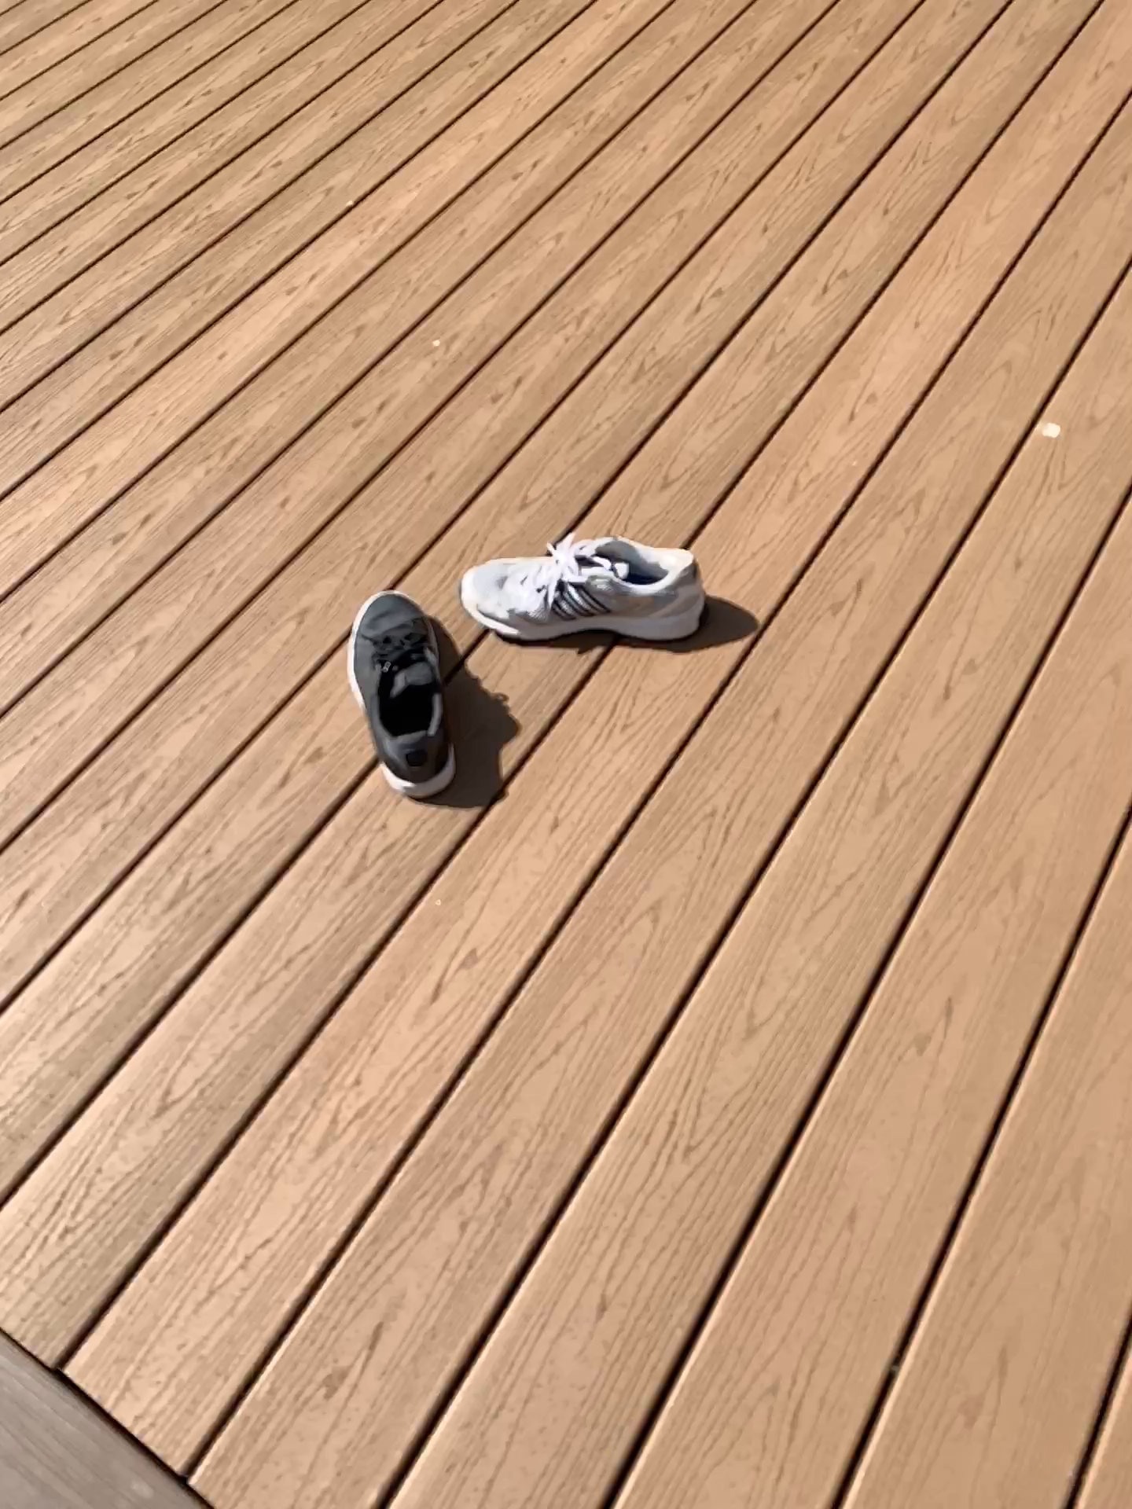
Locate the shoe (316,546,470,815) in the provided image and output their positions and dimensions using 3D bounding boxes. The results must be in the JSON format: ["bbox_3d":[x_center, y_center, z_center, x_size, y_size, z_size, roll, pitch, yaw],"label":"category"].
[{"bbox_3d":[-0.185,-0.082,1.208,0.110,0.100,0.261,-13,56,-3],"label":"shoe"}]

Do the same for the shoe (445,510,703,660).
[{"bbox_3d":[0.015,-0.190,1.278,0.270,0.120,0.110,2,57,7],"label":"shoe"}]
